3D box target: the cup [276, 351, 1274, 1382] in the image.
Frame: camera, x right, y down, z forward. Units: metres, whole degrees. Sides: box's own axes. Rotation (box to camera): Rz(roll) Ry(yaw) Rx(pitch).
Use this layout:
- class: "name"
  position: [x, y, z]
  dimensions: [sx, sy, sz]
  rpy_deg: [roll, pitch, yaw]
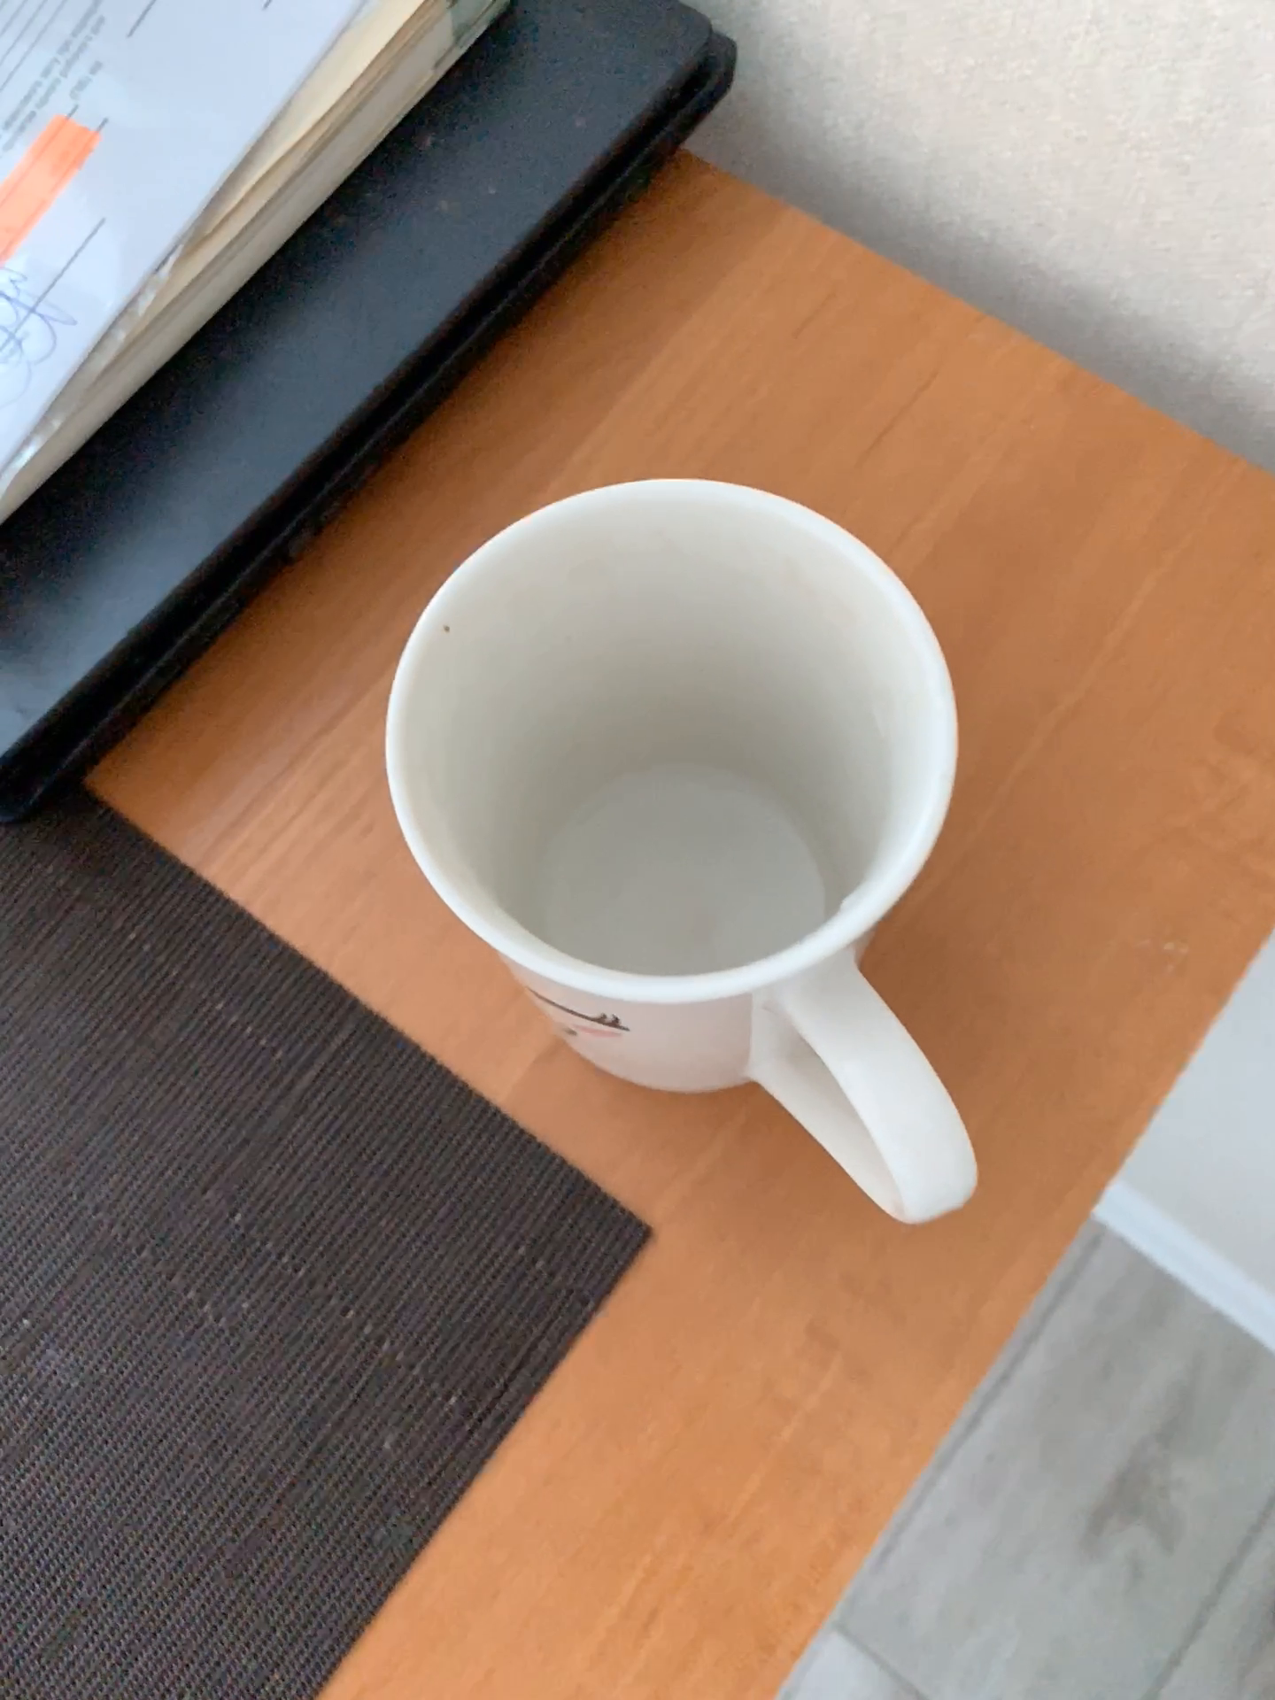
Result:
- class: "cup"
  position: [0.017, 0.009, 0.209]
  dimensions: [0.080, 0.095, 0.107]
  rpy_deg: [-32, 73, -9]
